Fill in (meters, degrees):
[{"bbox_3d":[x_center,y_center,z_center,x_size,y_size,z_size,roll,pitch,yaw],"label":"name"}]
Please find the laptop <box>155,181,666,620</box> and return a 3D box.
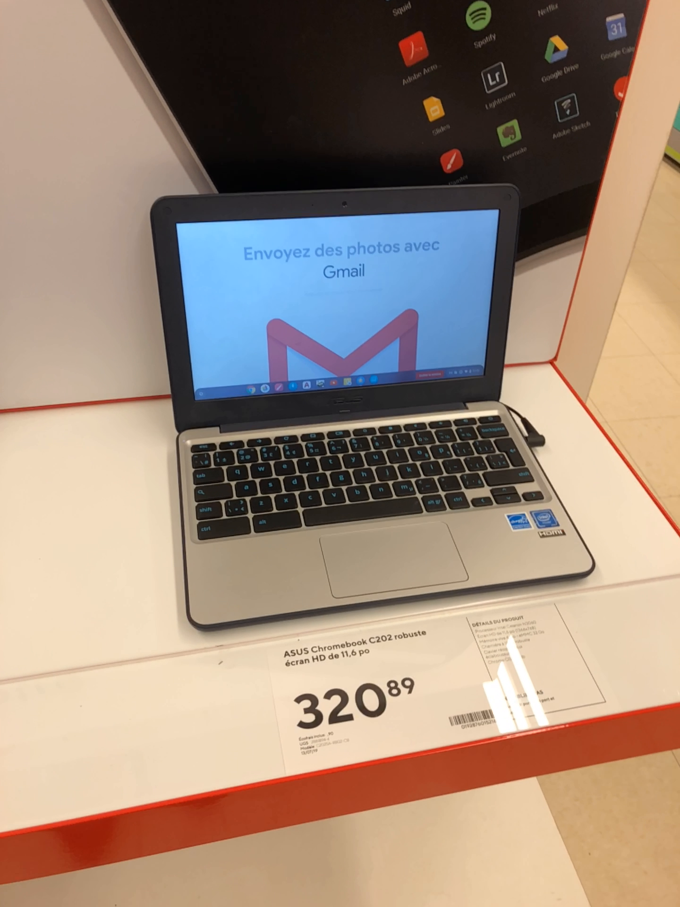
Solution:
[{"bbox_3d":[0.023,-0.053,0.531,0.274,0.174,0.231,-6,43,-11],"label":"laptop"}]
